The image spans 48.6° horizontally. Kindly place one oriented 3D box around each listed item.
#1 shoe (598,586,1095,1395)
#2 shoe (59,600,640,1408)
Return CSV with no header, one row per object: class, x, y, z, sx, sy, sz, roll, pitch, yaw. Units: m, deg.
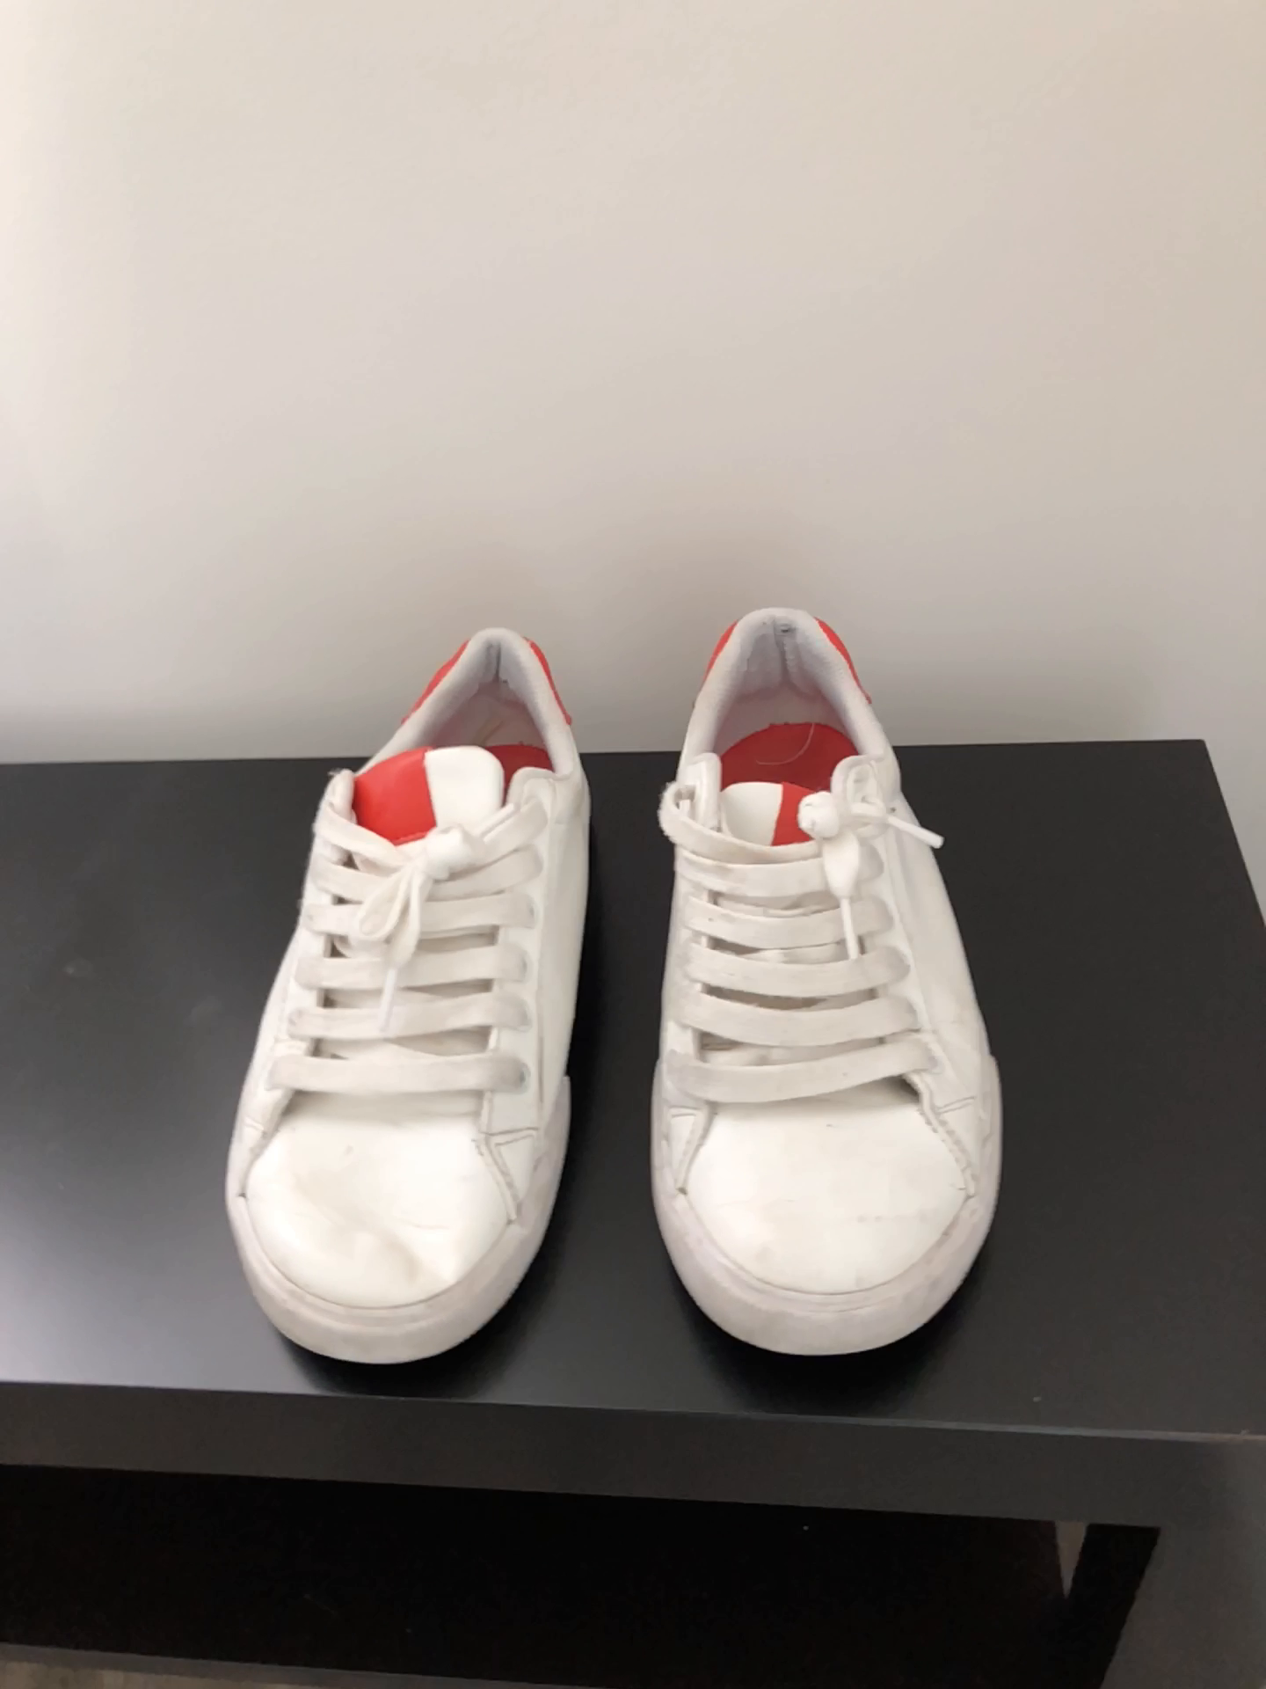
shoe,0.054,0.025,0.397,0.100,0.080,0.231,-1,42,6
shoe,-0.060,0.029,0.406,0.102,0.080,0.236,-1,42,6
